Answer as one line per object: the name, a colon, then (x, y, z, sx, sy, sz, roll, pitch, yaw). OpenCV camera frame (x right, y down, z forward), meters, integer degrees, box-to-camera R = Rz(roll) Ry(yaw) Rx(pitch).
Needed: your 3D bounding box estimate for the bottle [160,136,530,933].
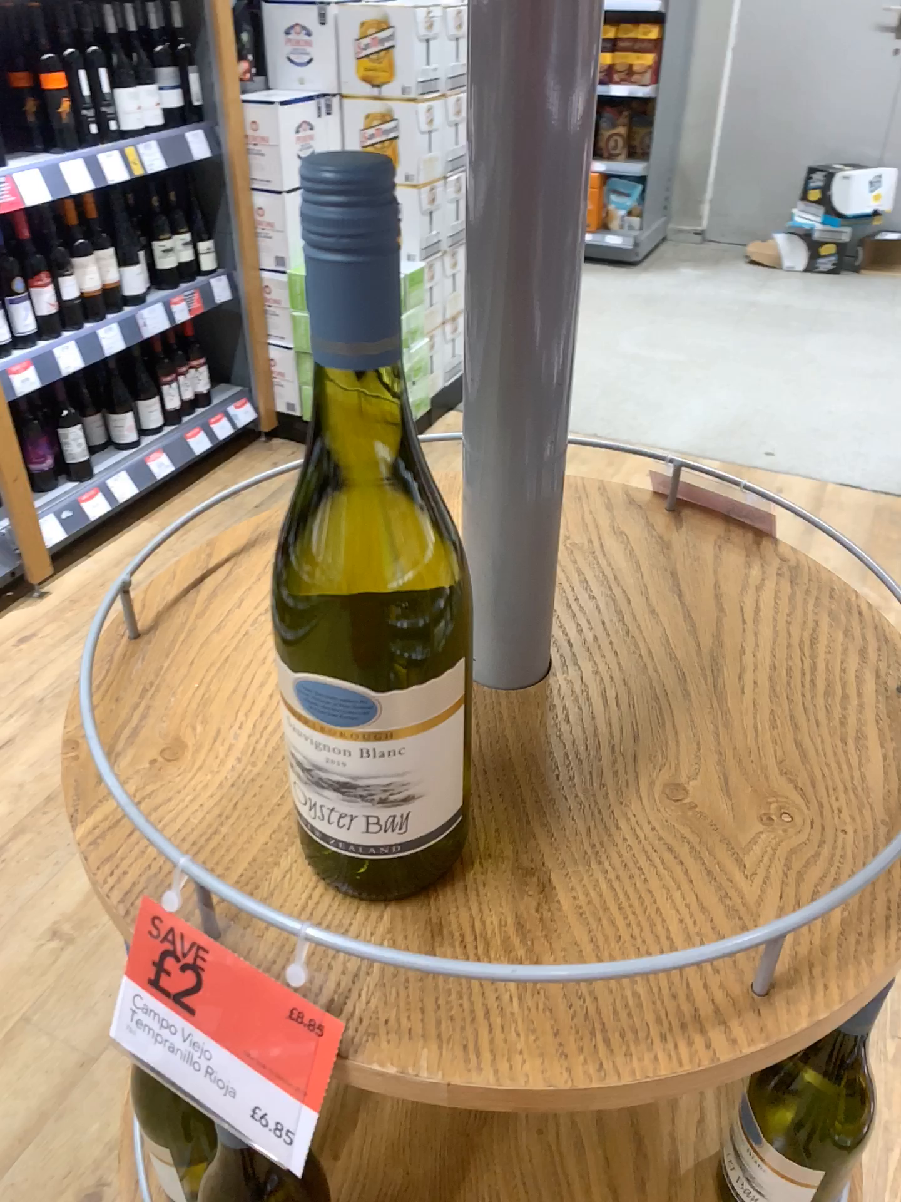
bottle: (-0.027, -0.010, 0.346, 0.080, 0.284, 0.081, 0, 34, 0)
